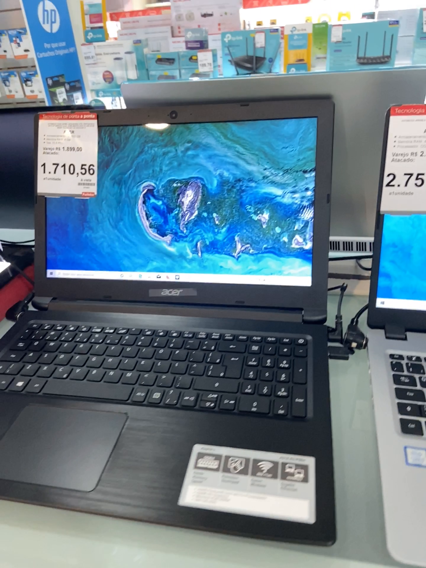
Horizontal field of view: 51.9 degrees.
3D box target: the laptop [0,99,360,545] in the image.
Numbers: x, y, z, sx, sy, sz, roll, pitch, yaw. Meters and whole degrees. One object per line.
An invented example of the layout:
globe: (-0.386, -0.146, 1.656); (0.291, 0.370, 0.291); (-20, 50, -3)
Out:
laptop: (-0.076, -0.025, 0.438); (0.376, 0.216, 0.382); (2, 32, 12)
